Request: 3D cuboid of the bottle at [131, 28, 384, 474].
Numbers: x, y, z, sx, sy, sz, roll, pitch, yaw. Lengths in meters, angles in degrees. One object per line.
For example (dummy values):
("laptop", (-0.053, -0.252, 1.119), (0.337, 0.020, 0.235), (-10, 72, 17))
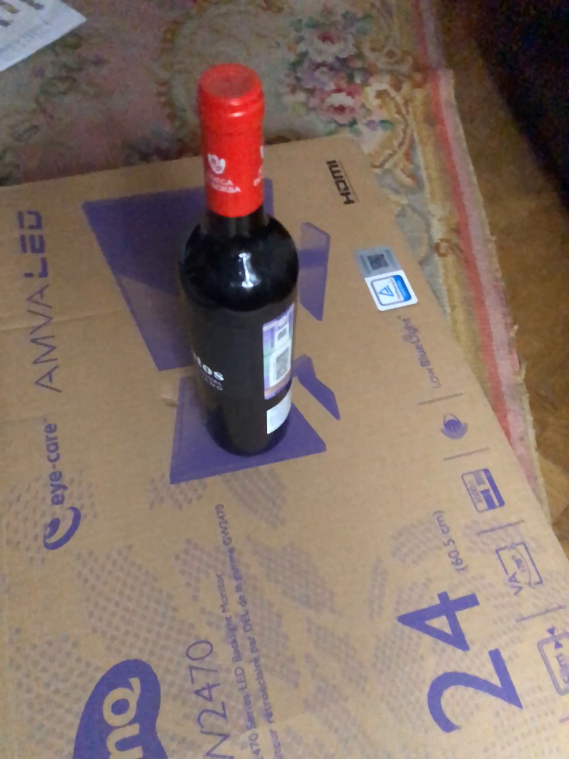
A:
("bottle", (-0.022, -0.046, 0.397), (0.090, 0.299, 0.090), (2, 60, -3))
